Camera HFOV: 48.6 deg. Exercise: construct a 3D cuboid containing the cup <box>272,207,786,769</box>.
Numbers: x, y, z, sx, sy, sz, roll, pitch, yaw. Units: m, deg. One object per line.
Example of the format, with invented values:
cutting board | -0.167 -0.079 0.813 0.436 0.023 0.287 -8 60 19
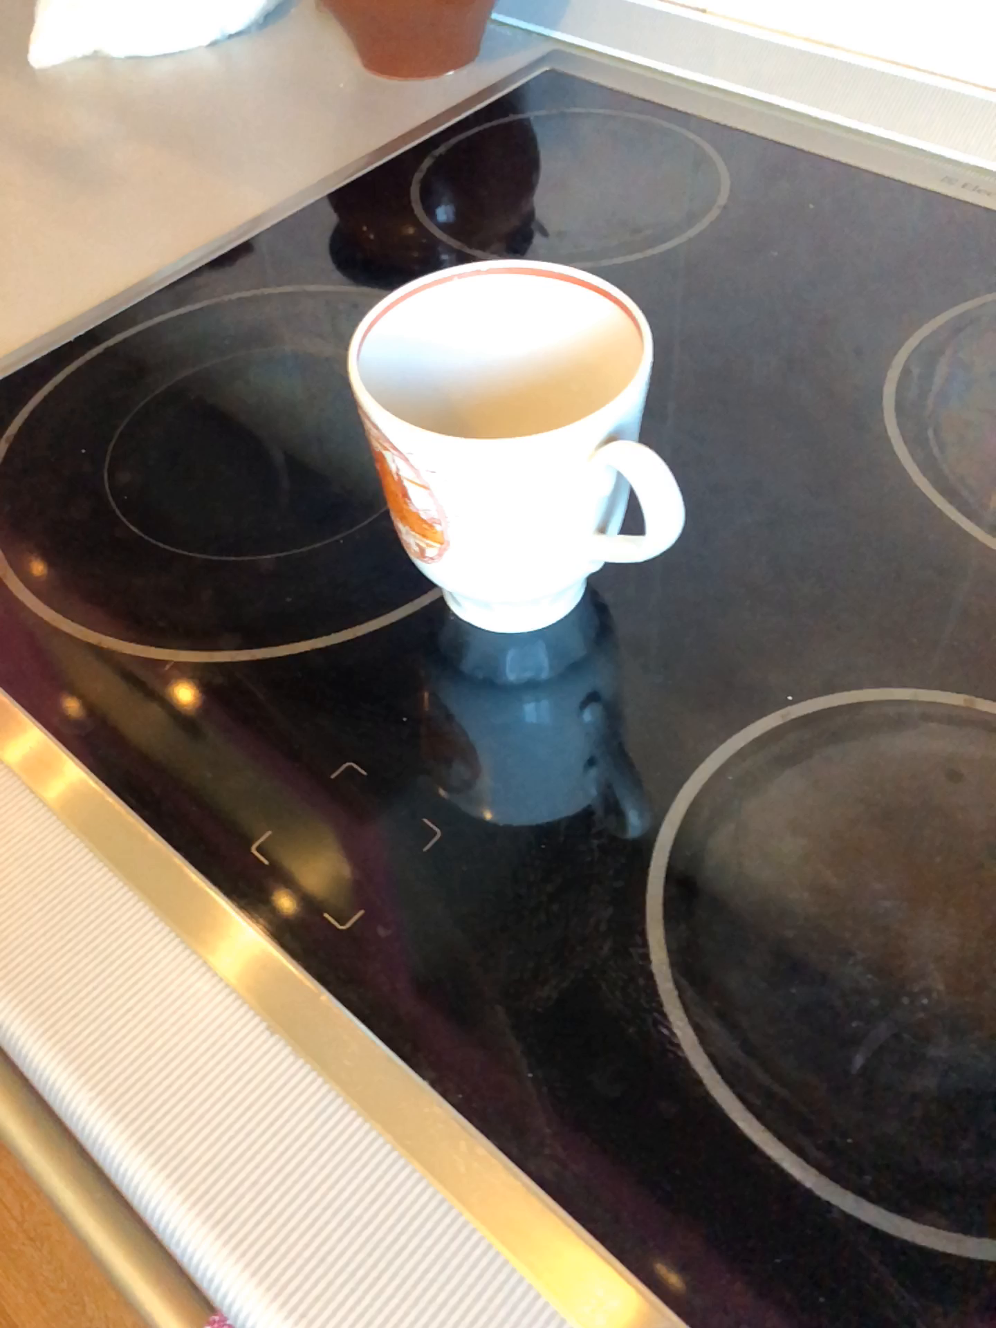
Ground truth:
cup | 0.005 -0.056 0.332 0.090 0.090 0.120 -25 54 -17
